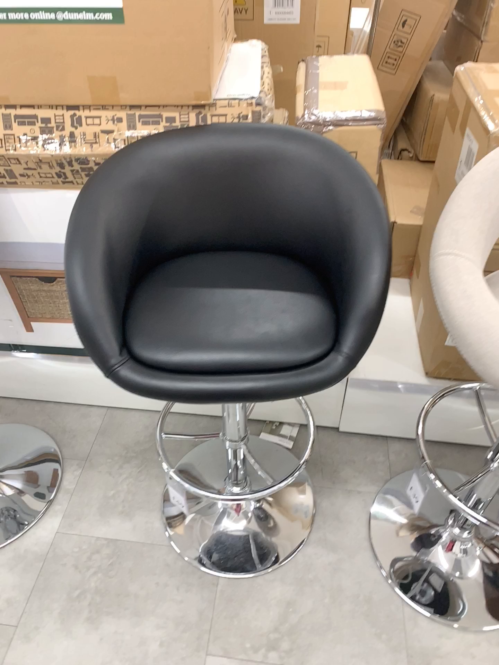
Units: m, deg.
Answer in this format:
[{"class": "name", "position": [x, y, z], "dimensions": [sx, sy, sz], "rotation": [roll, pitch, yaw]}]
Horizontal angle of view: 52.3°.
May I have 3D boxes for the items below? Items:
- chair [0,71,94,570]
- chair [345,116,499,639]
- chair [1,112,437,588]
[{"class": "chair", "position": [-0.685, 0.050, 1.031], "dimensions": [0.444, 0.948, 0.444], "rotation": [-1, 42, -1]}, {"class": "chair", "position": [0.485, 0.157, 0.923], "dimensions": [0.444, 0.918, 0.434], "rotation": [-1, 42, -1]}, {"class": "chair", "position": [-0.027, 0.092, 1.007], "dimensions": [0.474, 0.868, 0.444], "rotation": [1, 42, 2]}]
